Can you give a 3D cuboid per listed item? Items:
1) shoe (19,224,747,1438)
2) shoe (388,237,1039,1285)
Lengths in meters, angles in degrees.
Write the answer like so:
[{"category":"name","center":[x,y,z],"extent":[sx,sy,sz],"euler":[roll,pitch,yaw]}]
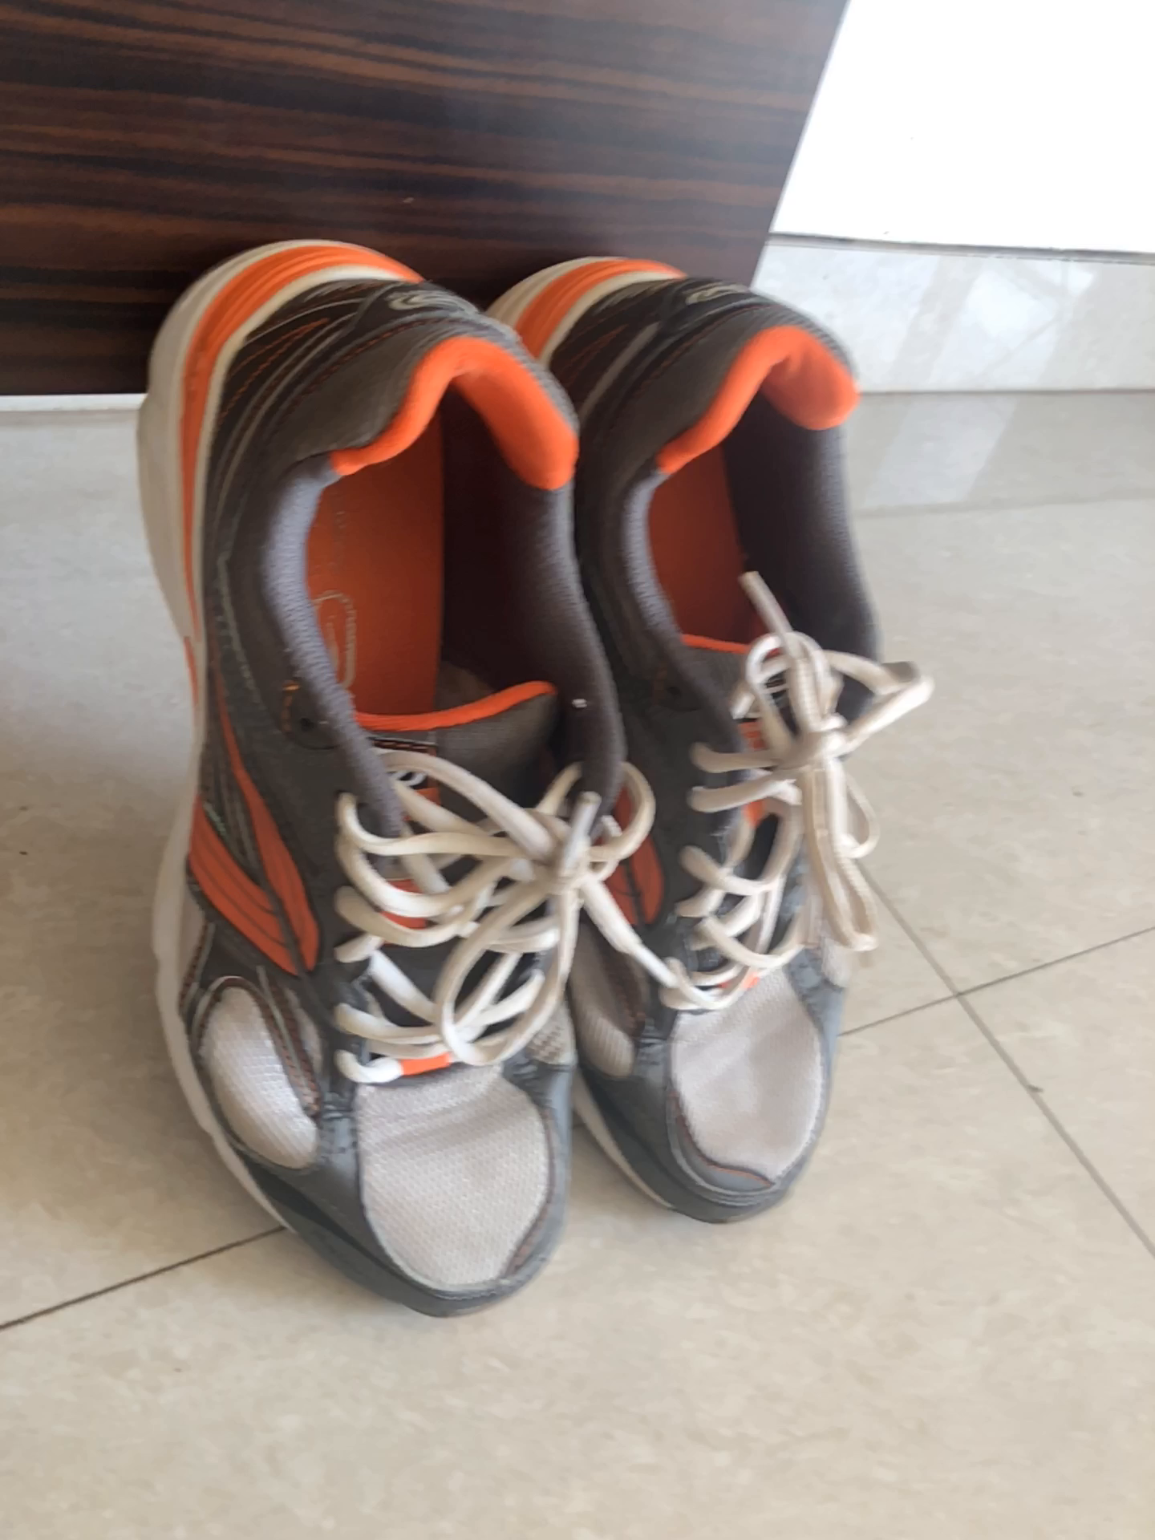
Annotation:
[{"category":"shoe","center":[-0.044,0.008,0.328],"extent":[0.120,0.269,0.100],"euler":[-17,29,-34]},{"category":"shoe","center":[0.033,-0.011,0.370],"extent":[0.120,0.259,0.110],"euler":[-14,25,-27]}]
